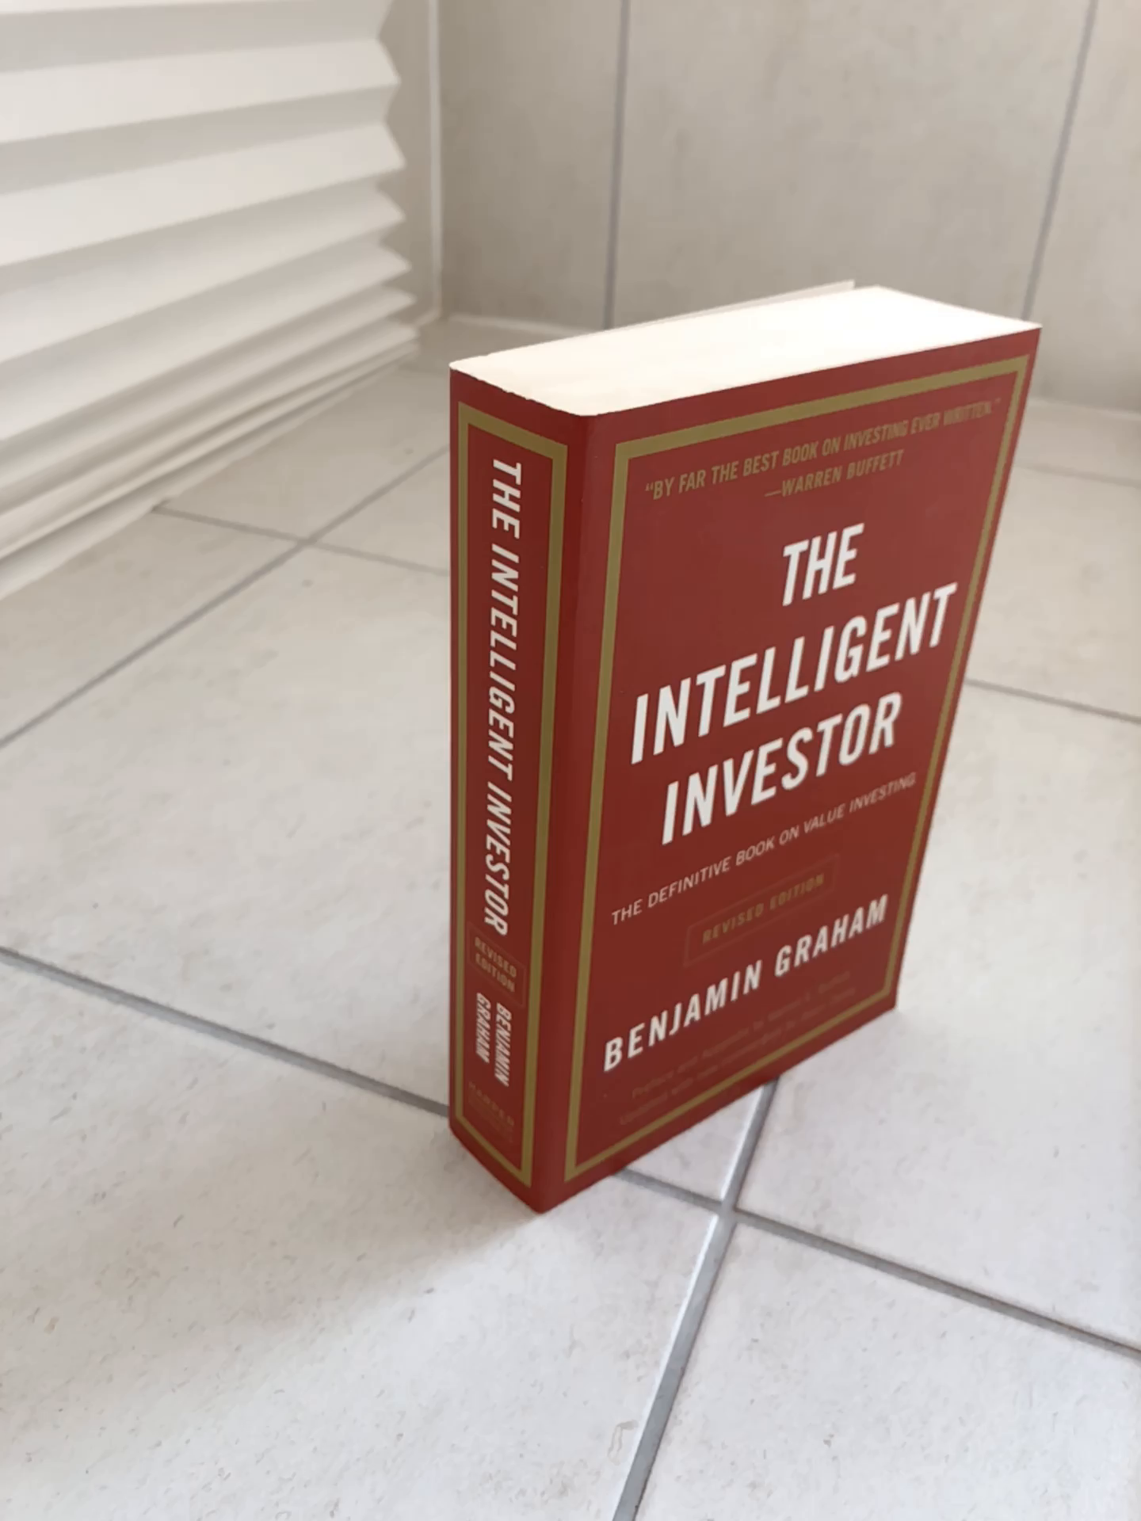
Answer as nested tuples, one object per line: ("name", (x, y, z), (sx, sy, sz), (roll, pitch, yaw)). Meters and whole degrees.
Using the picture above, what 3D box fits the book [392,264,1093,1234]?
("book", (0.038, -0.004, 0.323), (0.149, 0.206, 0.057), (-21, 39, -32))
